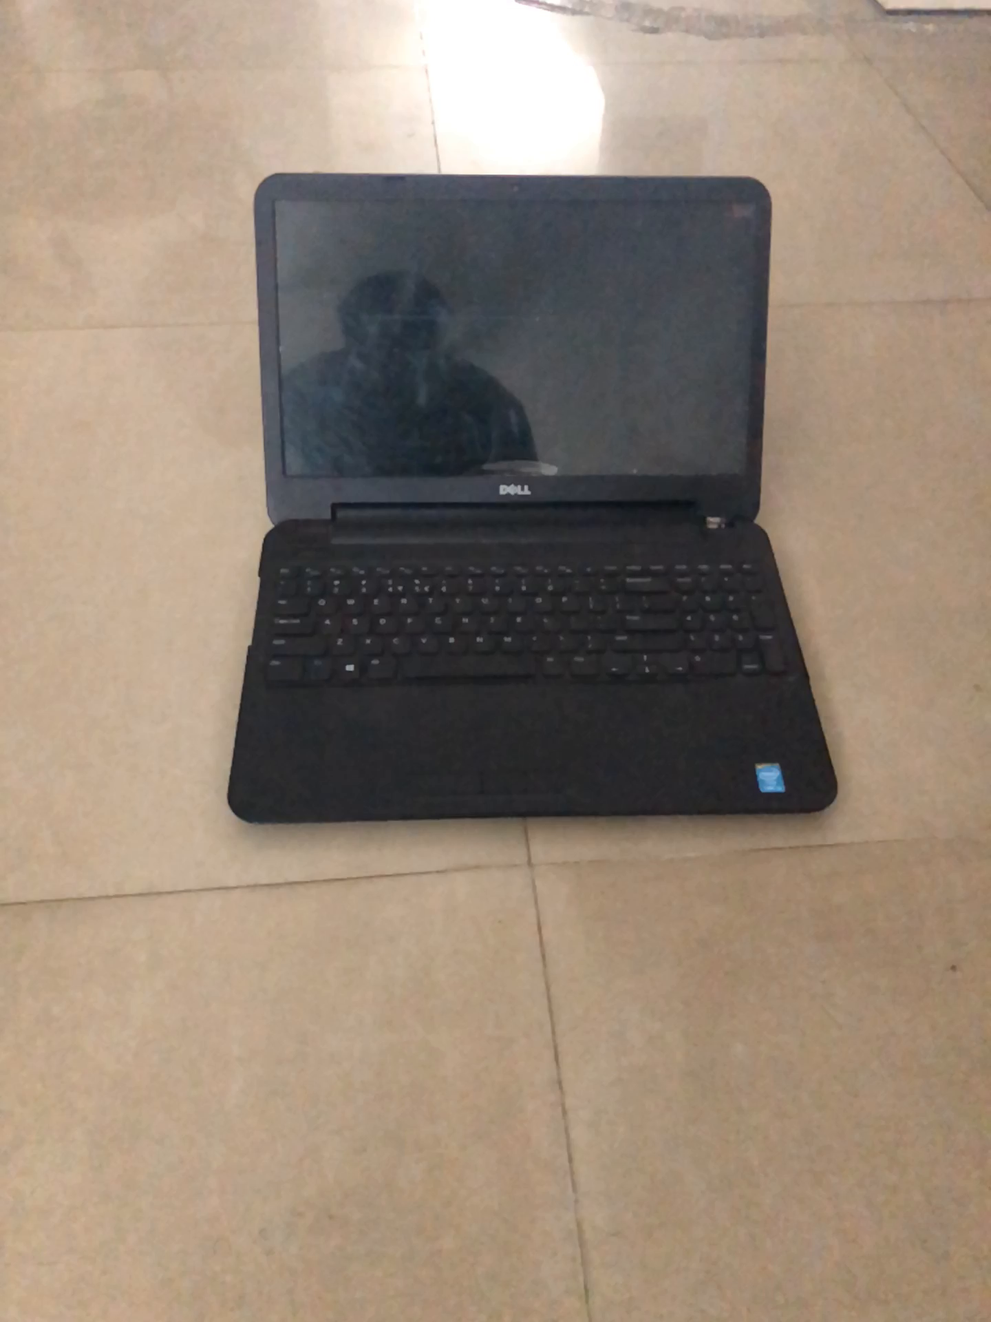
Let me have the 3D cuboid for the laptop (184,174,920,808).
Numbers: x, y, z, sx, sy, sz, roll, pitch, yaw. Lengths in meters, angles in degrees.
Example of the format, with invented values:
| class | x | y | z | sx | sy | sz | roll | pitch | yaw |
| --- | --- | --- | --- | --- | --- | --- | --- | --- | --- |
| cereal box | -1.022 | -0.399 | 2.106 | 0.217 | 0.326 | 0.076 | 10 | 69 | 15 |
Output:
| class | x | y | z | sx | sy | sz | roll | pitch | yaw |
| --- | --- | --- | --- | --- | --- | --- | --- | --- | --- |
| laptop | 0.019 | -0.131 | 0.705 | 0.343 | 0.178 | 0.407 | -1 | 49 | -2 |
